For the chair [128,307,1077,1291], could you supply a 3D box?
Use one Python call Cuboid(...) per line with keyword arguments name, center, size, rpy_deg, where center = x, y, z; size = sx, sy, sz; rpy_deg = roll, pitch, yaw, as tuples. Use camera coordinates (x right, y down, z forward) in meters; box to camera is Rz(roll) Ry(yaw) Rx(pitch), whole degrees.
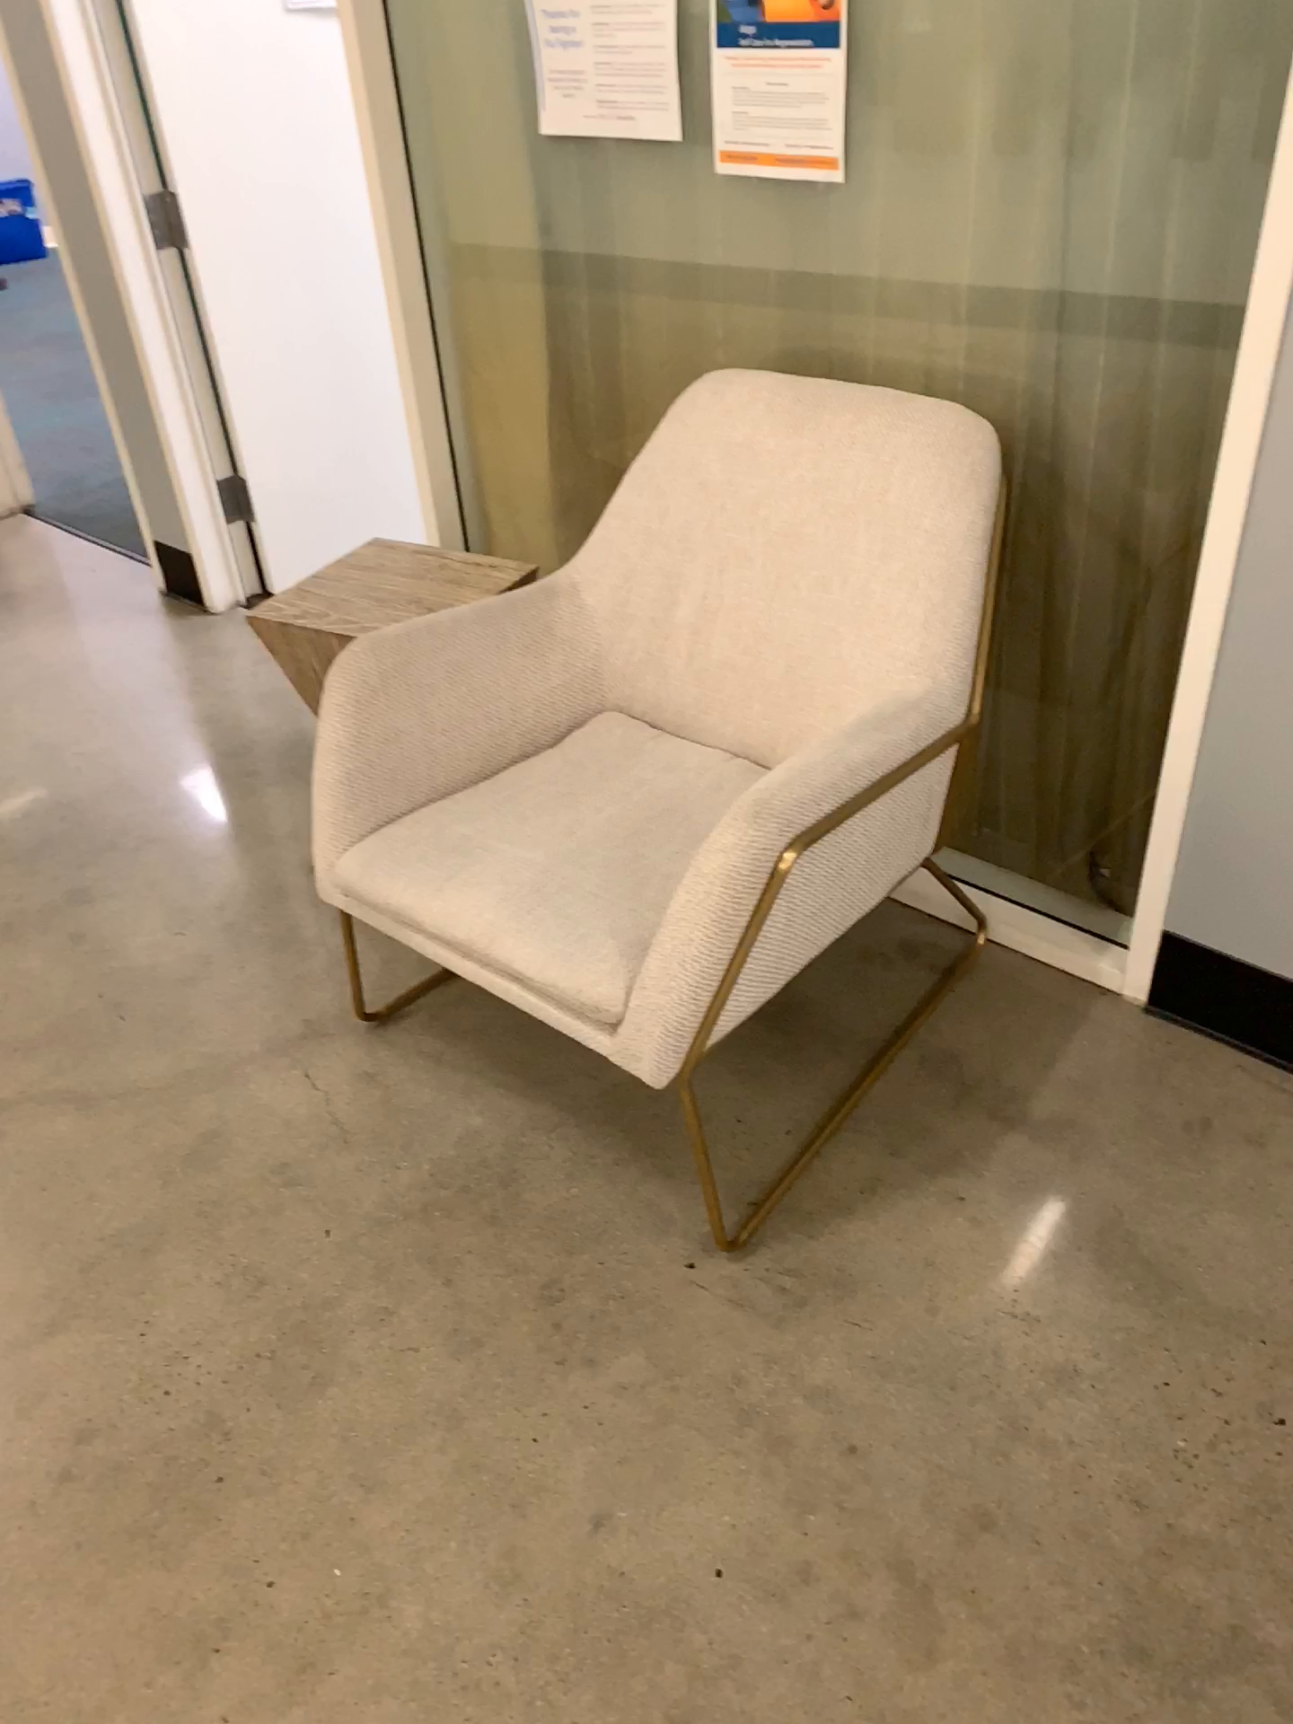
Cuboid(name="chair", center=(-0.015, -0.158, 1.762), size=(0.783, 0.865, 0.772), rpy_deg=(22, 43, 32))
